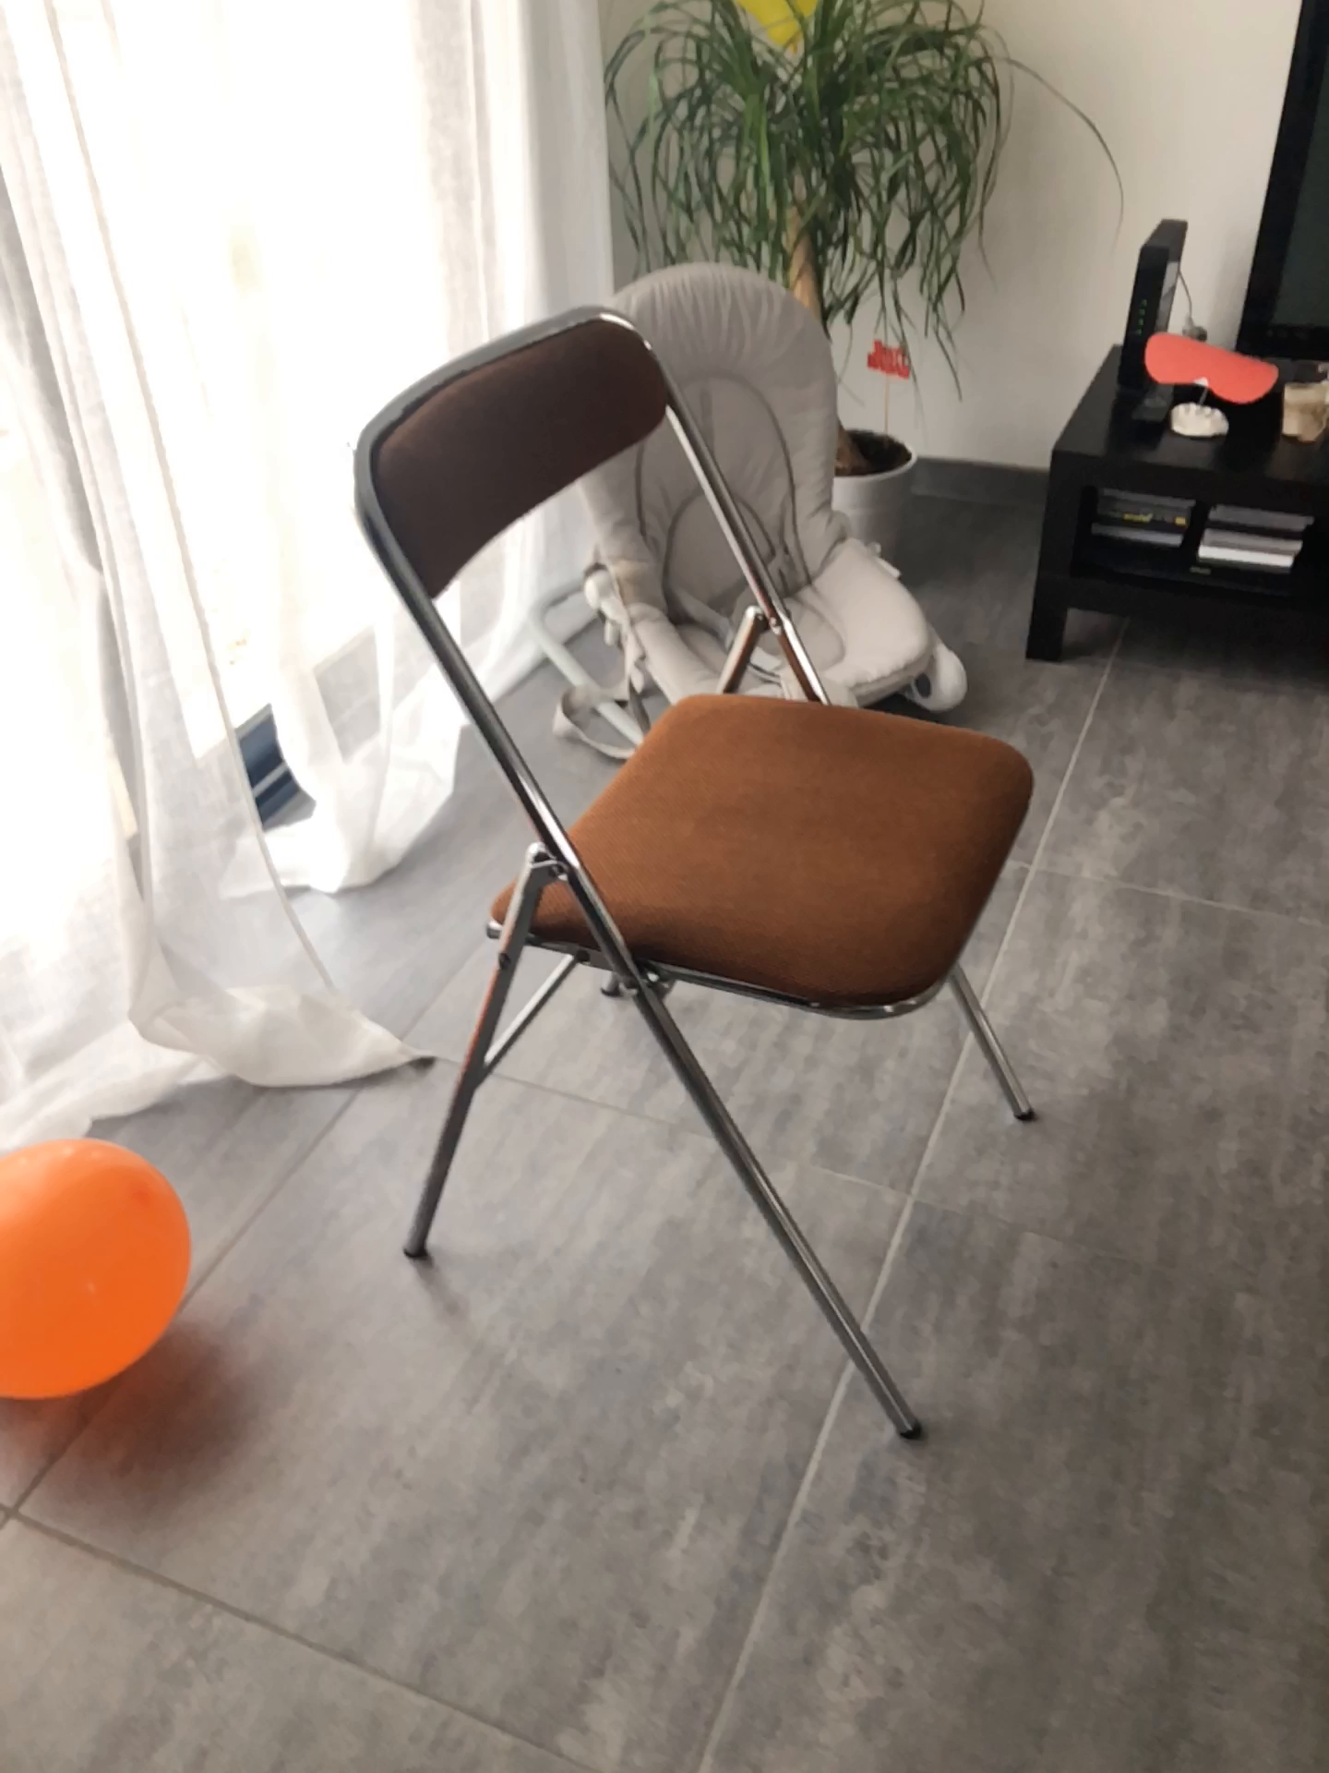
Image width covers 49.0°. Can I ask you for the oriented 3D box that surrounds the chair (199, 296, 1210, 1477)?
[{"bbox_3d":[0.065,-0.024,1.215,0.550,0.736,0.483,14,38,20],"label":"chair"}]
